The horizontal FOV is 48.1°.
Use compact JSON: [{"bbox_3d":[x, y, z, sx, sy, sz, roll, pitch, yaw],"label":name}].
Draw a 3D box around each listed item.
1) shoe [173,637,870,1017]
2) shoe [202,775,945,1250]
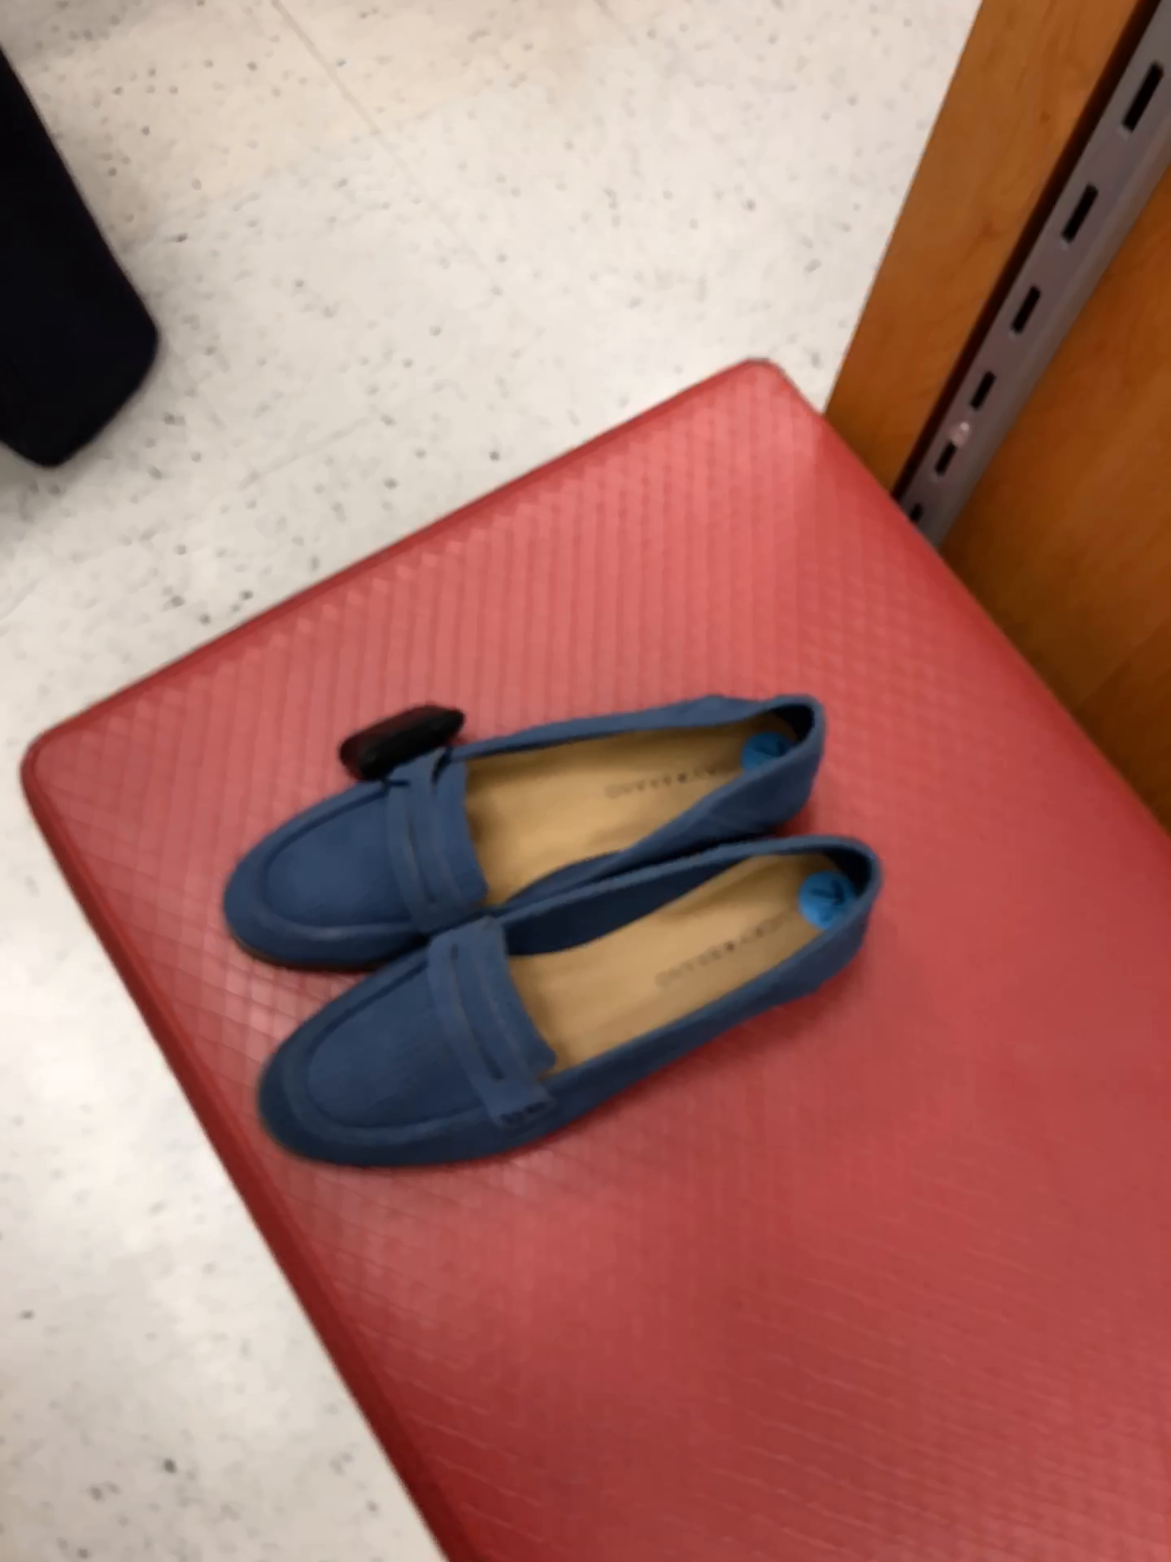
[{"bbox_3d":[-0.025,0.018,0.532,0.253,0.069,0.082,-12,70,-9],"label":"shoe"},{"bbox_3d":[-0.004,0.088,0.510,0.258,0.069,0.085,-19,71,-12],"label":"shoe"}]
